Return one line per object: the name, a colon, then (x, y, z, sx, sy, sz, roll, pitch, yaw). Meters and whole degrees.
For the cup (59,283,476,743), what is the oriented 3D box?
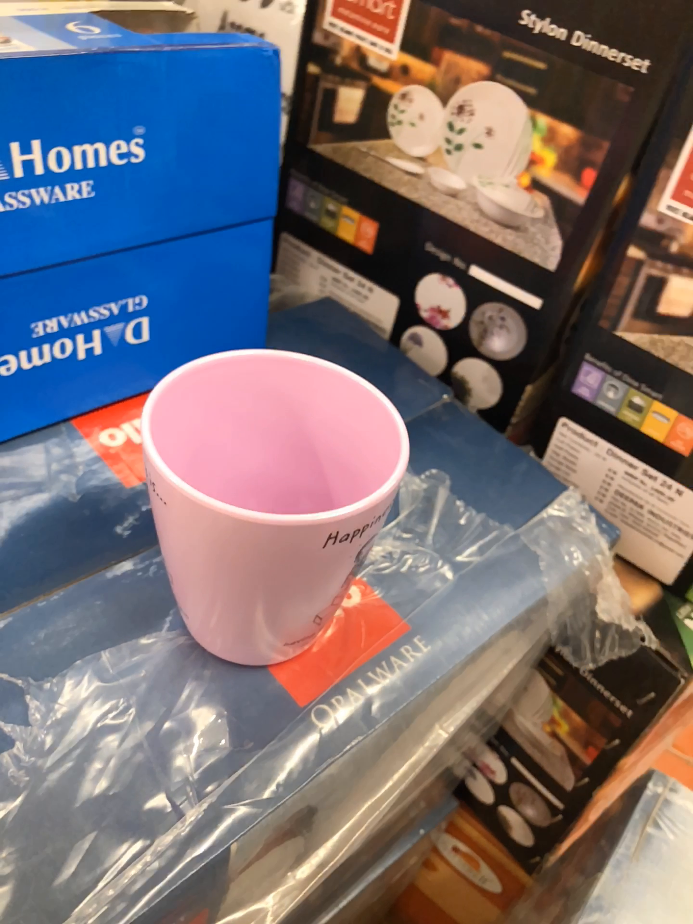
cup: (-0.027, 0.013, 0.280, 0.090, 0.089, 0.111, 27, 43, 13)
